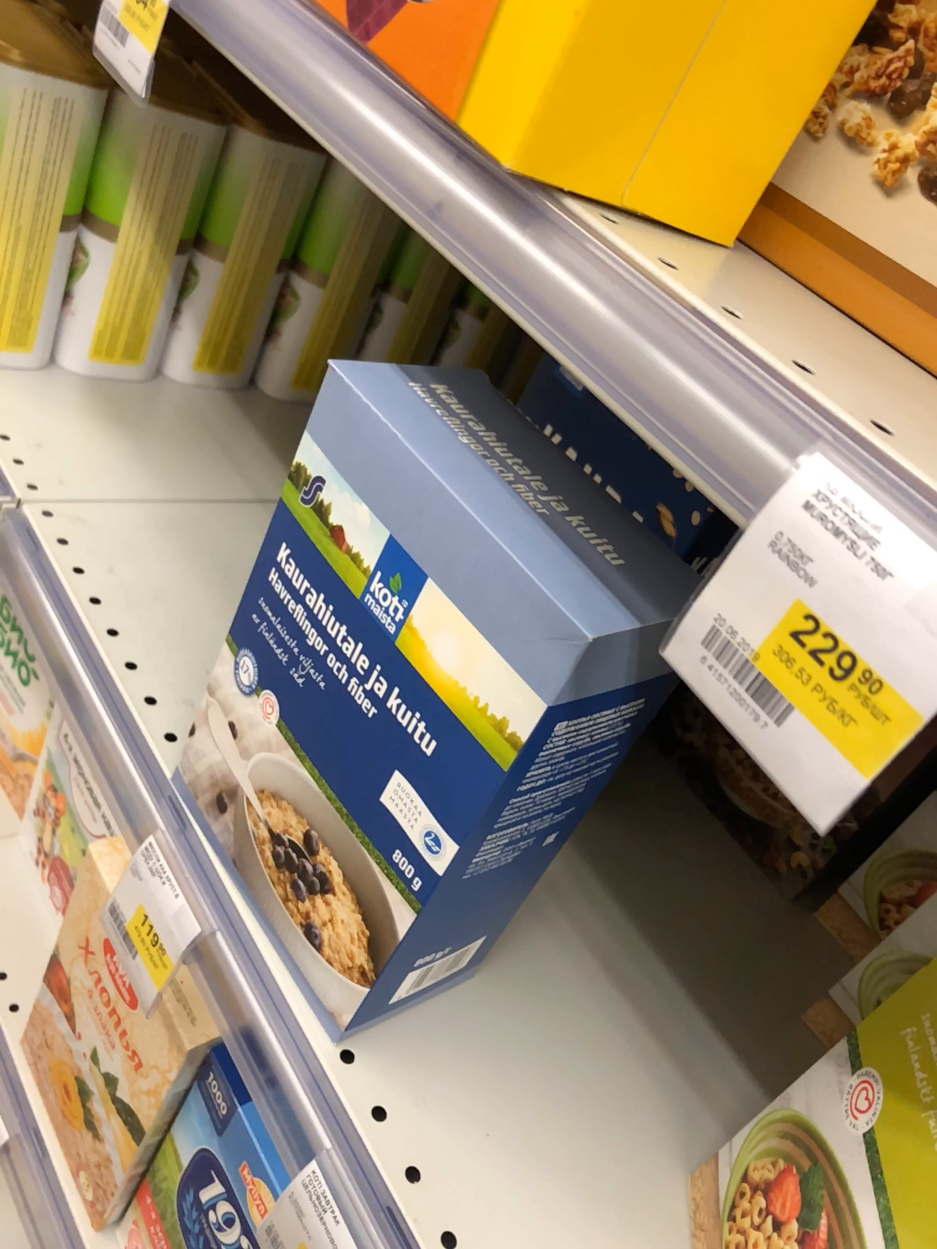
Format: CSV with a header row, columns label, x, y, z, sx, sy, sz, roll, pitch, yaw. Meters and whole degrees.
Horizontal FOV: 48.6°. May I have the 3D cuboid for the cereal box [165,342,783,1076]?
label,x,y,z,sx,sy,sz,roll,pitch,yaw
cereal box,-0.017,0.033,0.394,0.080,0.219,0.150,-9,48,-45
